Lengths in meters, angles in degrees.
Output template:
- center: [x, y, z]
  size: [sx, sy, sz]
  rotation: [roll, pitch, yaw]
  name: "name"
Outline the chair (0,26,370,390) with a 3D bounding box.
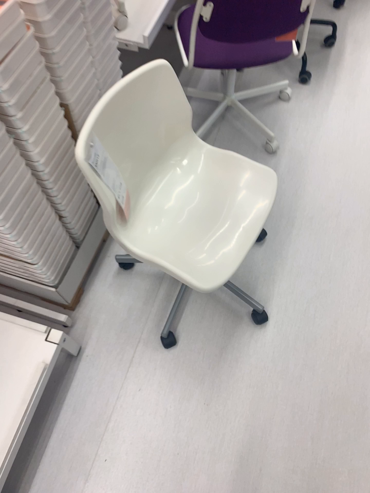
- center: [0.050, -0.068, 1.164]
  size: [0.680, 0.689, 0.641]
  rotation: [24, 66, 13]
  name: "chair"
